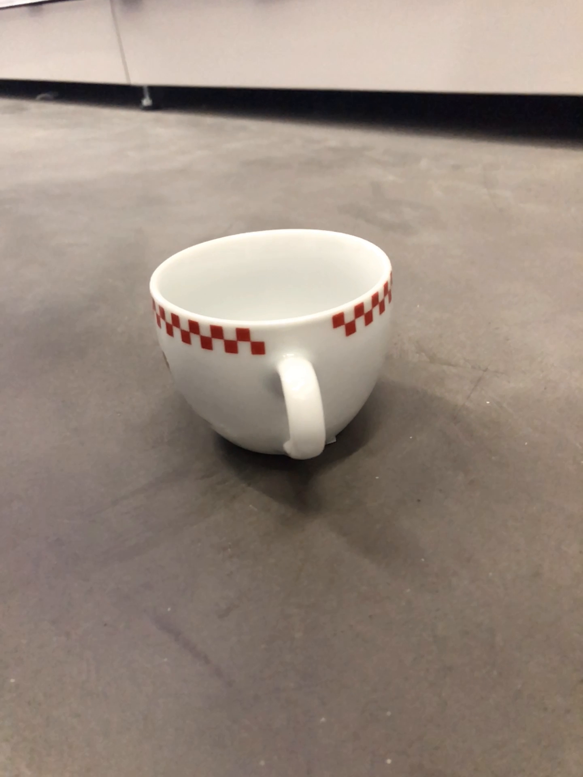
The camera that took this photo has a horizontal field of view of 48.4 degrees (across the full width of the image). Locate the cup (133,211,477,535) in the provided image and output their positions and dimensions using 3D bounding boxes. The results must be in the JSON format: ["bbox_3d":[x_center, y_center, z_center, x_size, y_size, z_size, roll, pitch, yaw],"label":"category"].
[{"bbox_3d":[-0.002,-0.015,0.226,0.089,0.058,0.111,-6,30,-7],"label":"cup"}]
